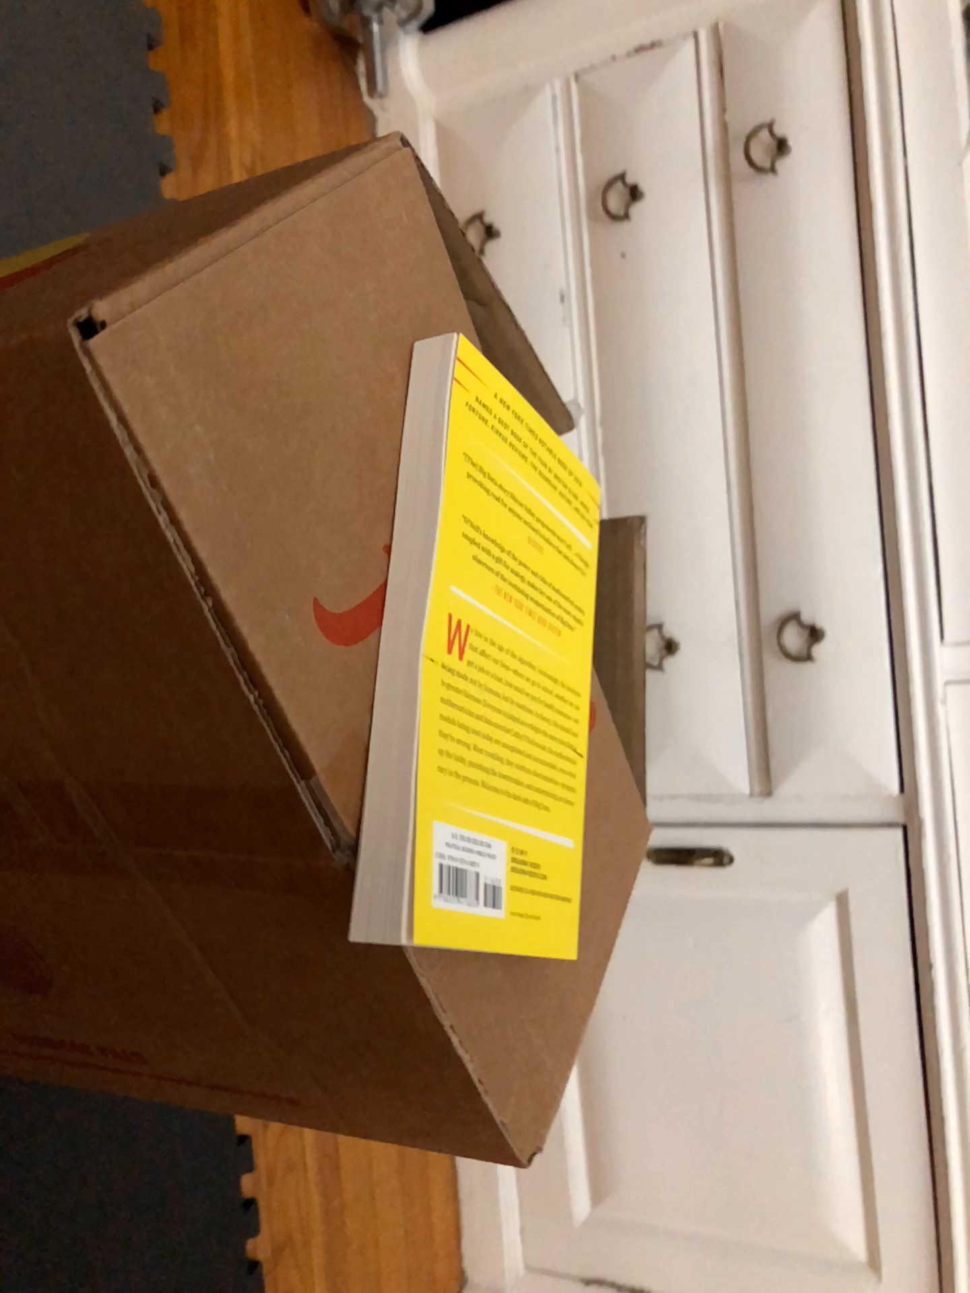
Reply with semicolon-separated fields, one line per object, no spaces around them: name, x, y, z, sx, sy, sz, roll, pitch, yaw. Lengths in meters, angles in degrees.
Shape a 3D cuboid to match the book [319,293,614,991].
book;0.005;0.010;0.393;0.151;0.020;0.220;30;60;-57
